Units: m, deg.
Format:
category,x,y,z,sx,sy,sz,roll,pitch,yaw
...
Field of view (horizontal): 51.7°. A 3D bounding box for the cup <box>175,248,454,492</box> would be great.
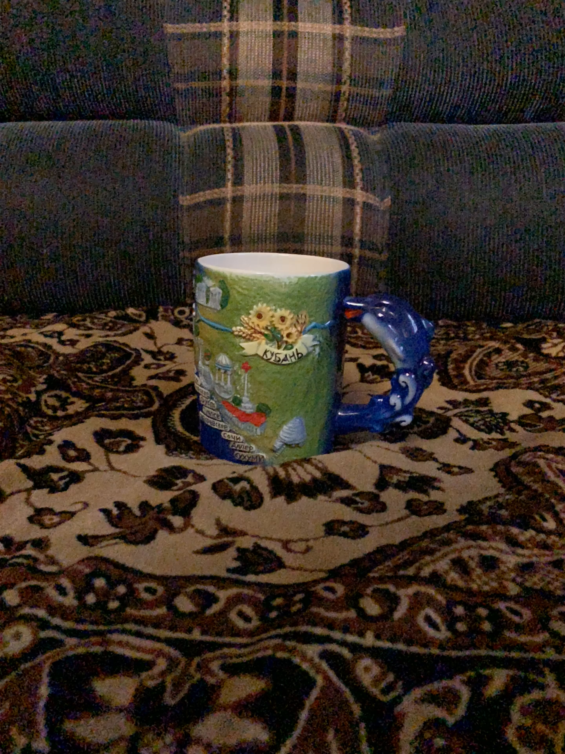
category,x,y,z,sx,sy,sz,roll,pitch,yaw
cup,0.020,-0.012,0.335,0.136,0.106,0.084,6,19,13
